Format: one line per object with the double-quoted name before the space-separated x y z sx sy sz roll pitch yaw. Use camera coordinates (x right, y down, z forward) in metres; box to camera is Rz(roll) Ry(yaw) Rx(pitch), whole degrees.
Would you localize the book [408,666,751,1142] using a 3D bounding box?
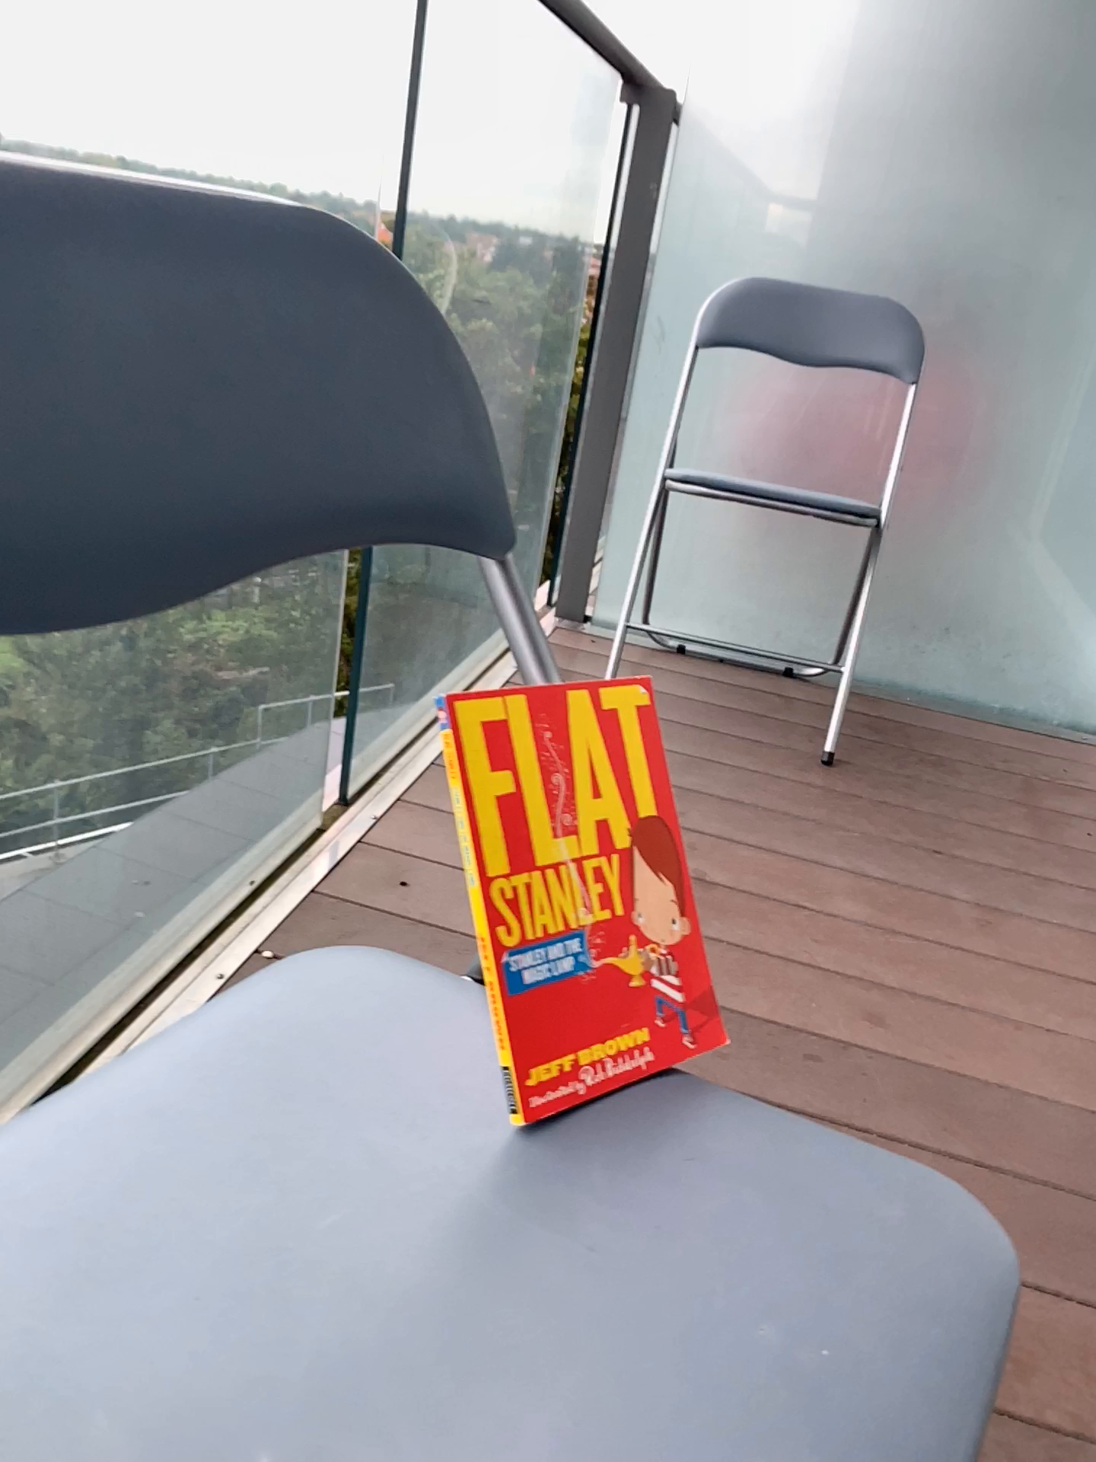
"book" 0.018 0.070 0.520 0.141 0.190 0.020 -7 -7 -35
